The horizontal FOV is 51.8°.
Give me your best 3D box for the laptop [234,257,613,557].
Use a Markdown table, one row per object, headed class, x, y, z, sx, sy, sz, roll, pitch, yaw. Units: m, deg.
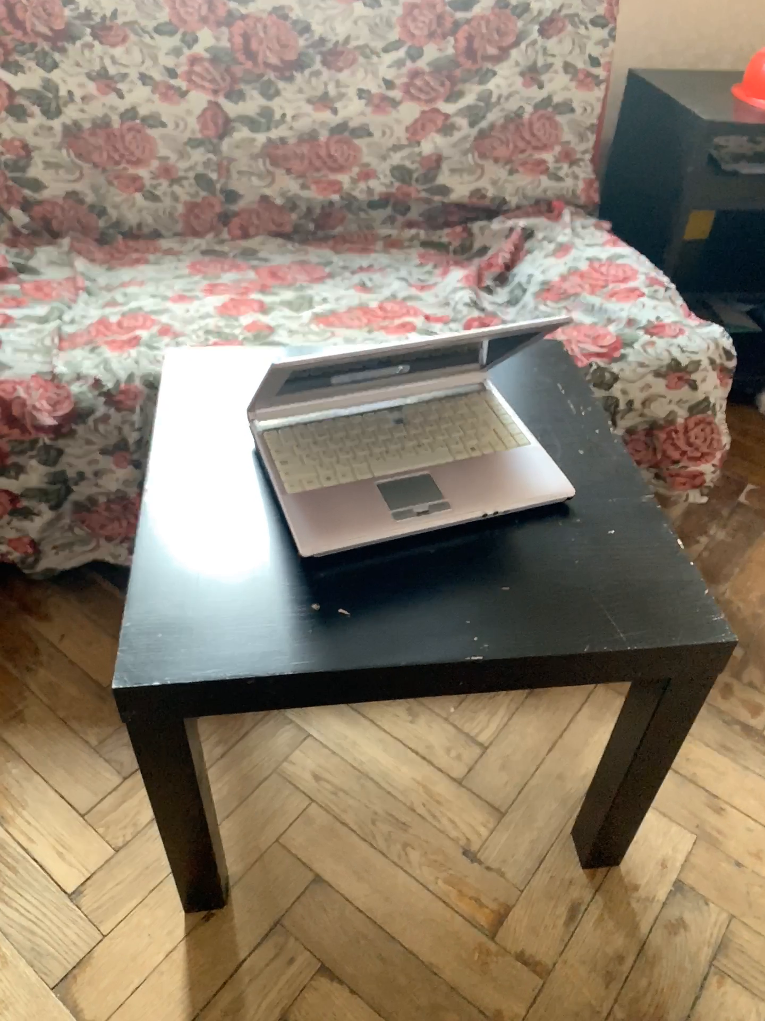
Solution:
| class | x | y | z | sx | sy | sz | roll | pitch | yaw |
| --- | --- | --- | --- | --- | --- | --- | --- | --- | --- |
| laptop | 0.029 | -0.120 | 0.816 | 0.305 | 0.156 | 0.227 | -12 | 45 | -17 |
